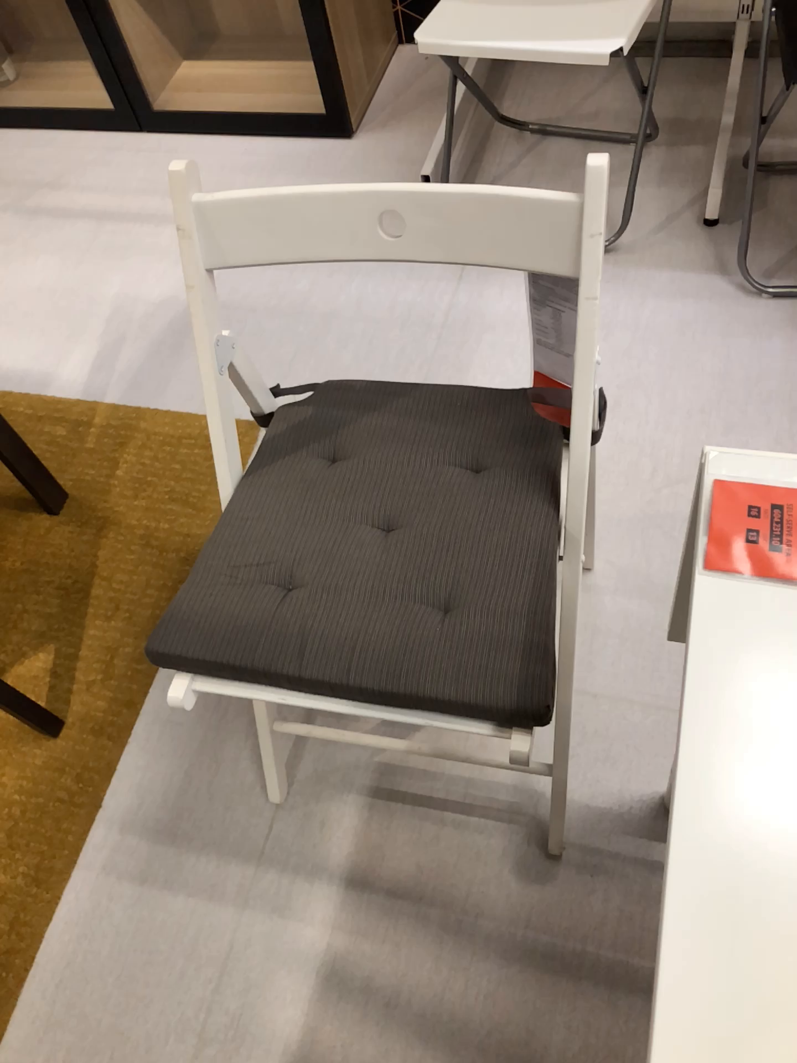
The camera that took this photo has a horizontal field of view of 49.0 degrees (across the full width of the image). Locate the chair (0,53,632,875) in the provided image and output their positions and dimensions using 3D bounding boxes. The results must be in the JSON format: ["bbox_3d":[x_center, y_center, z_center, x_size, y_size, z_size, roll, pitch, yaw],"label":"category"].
[{"bbox_3d":[-0.029,-0.004,0.885,0.440,0.697,0.452,6,59,15],"label":"chair"}]
